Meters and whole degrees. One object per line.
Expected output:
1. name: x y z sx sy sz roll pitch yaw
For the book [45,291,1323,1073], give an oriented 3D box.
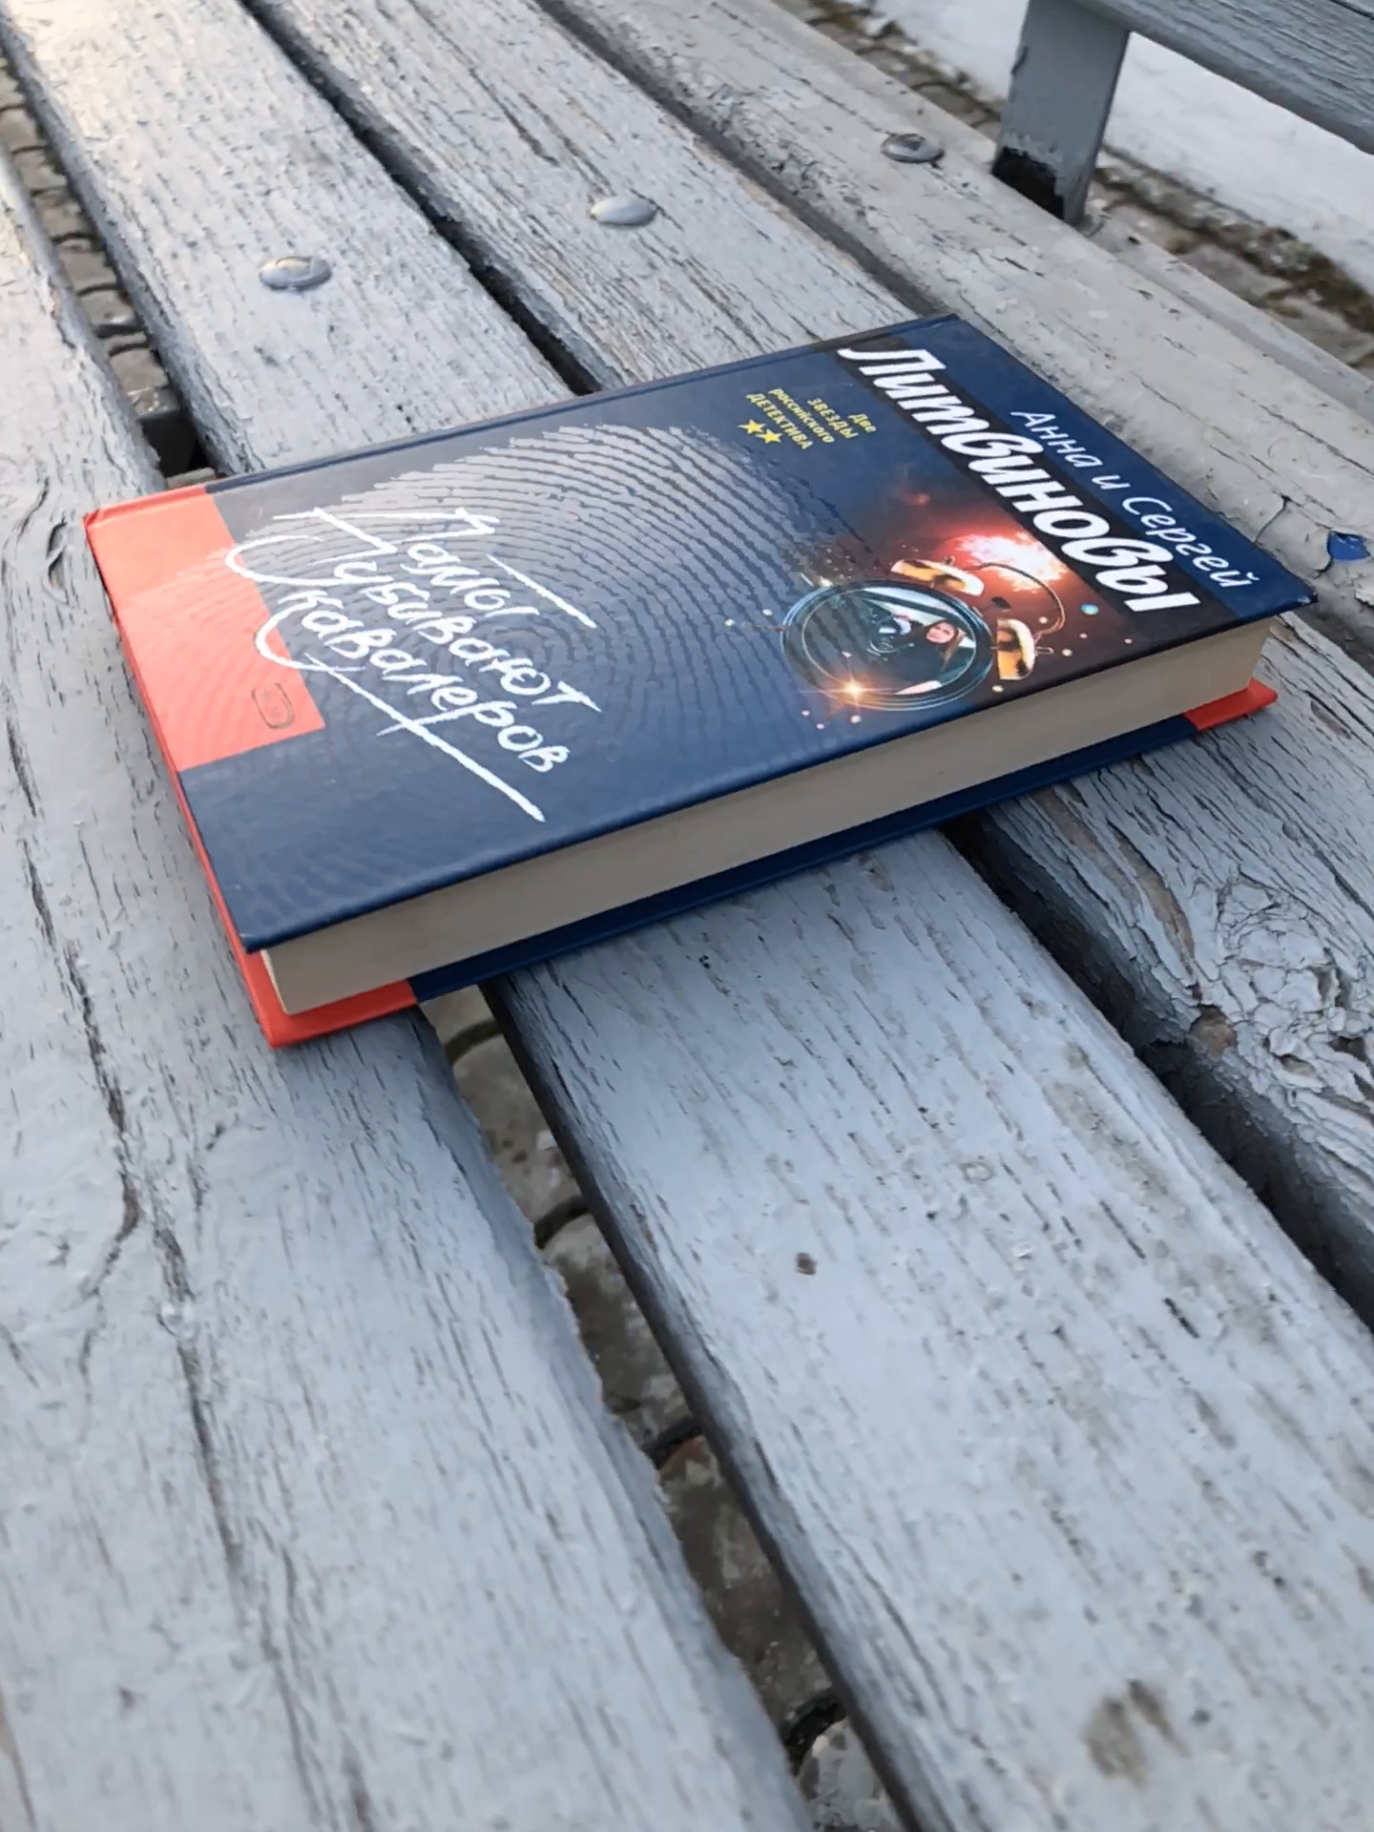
1. book: -0.004 -0.062 0.301 0.208 0.030 0.130 -20 50 -17
